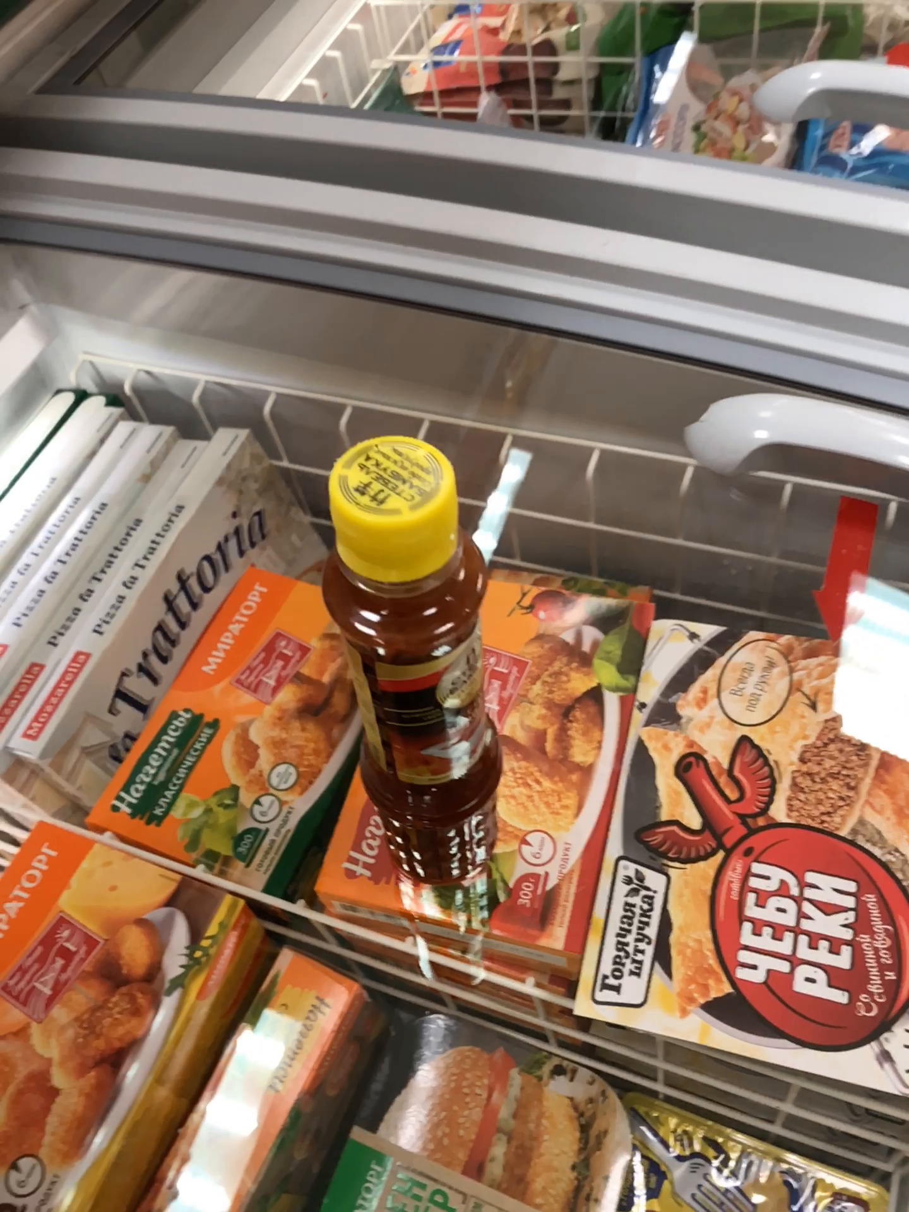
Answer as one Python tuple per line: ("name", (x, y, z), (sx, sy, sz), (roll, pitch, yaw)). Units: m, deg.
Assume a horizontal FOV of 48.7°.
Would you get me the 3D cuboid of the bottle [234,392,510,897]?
("bottle", (-0.014, 0.030, 0.327), (0.047, 0.212, 0.048), (-3, 54, 4))
